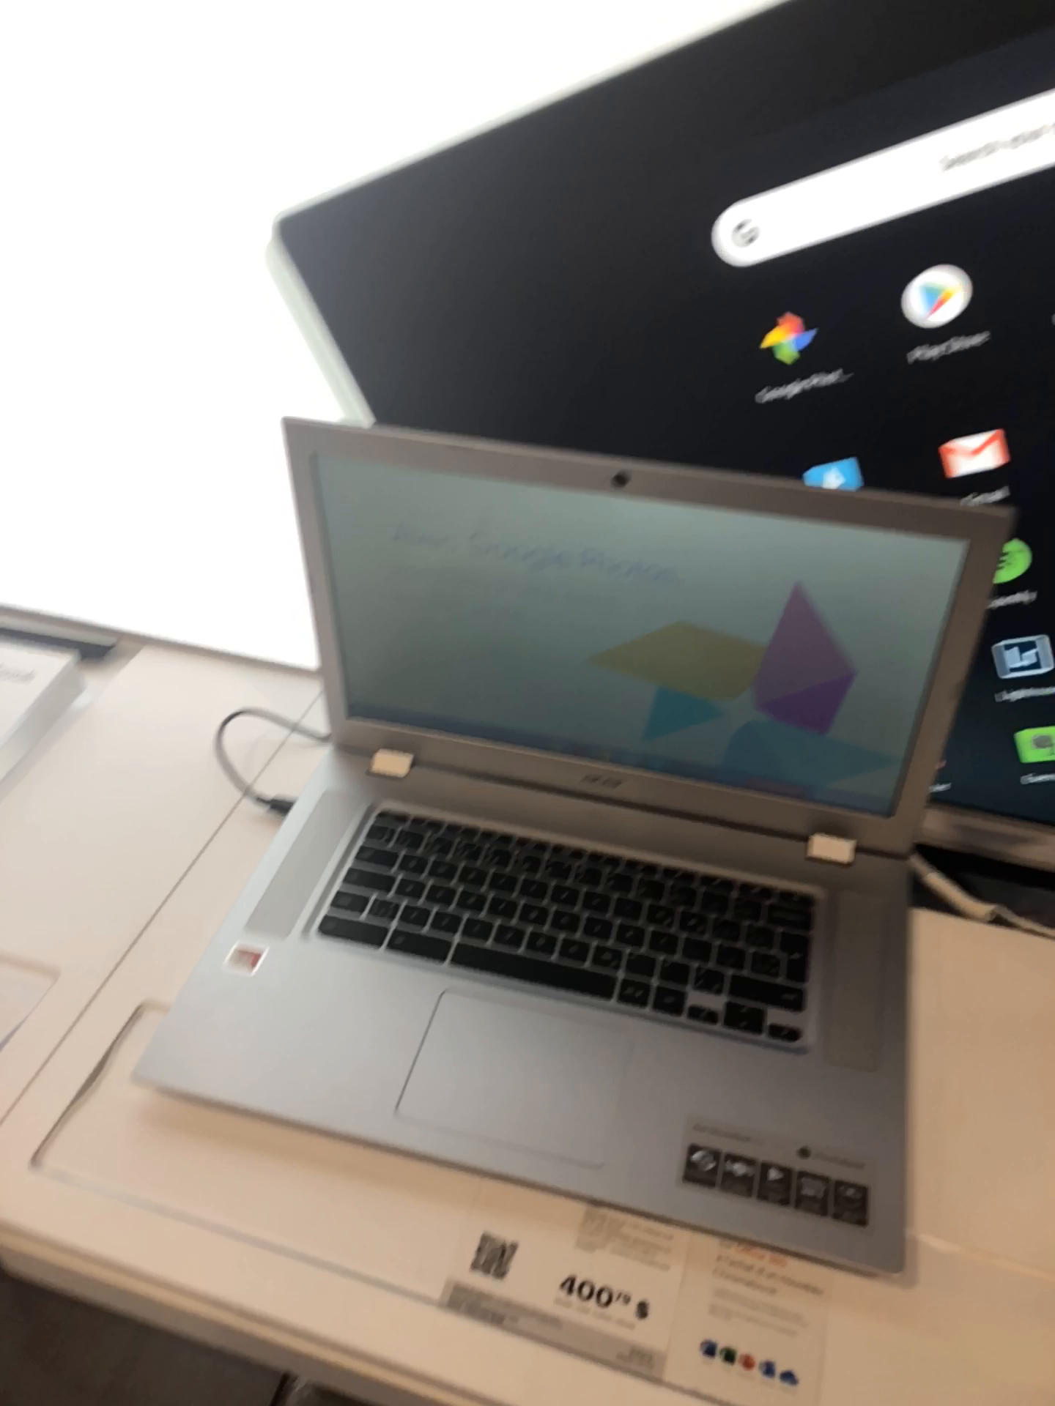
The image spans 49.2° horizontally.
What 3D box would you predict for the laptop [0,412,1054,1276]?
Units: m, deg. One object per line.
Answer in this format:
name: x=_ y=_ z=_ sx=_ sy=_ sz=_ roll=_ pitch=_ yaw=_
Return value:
laptop: x=0.014 y=0.047 z=0.570 sx=0.377 sy=0.249 sz=0.265 roll=10 pitch=40 yaw=12
